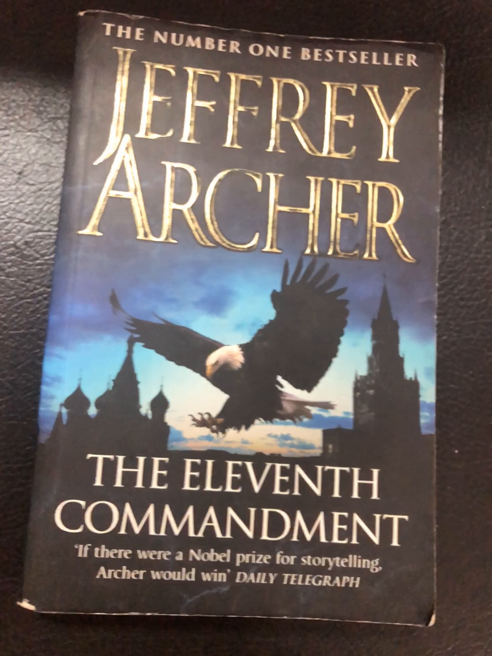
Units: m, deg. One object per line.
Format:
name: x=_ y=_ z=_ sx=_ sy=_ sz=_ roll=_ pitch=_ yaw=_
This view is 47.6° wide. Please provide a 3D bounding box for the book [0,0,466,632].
book: x=-0.003 y=-0.015 z=0.183 sx=0.130 sy=0.040 sz=0.200 roll=5 pitch=84 yaw=-7
